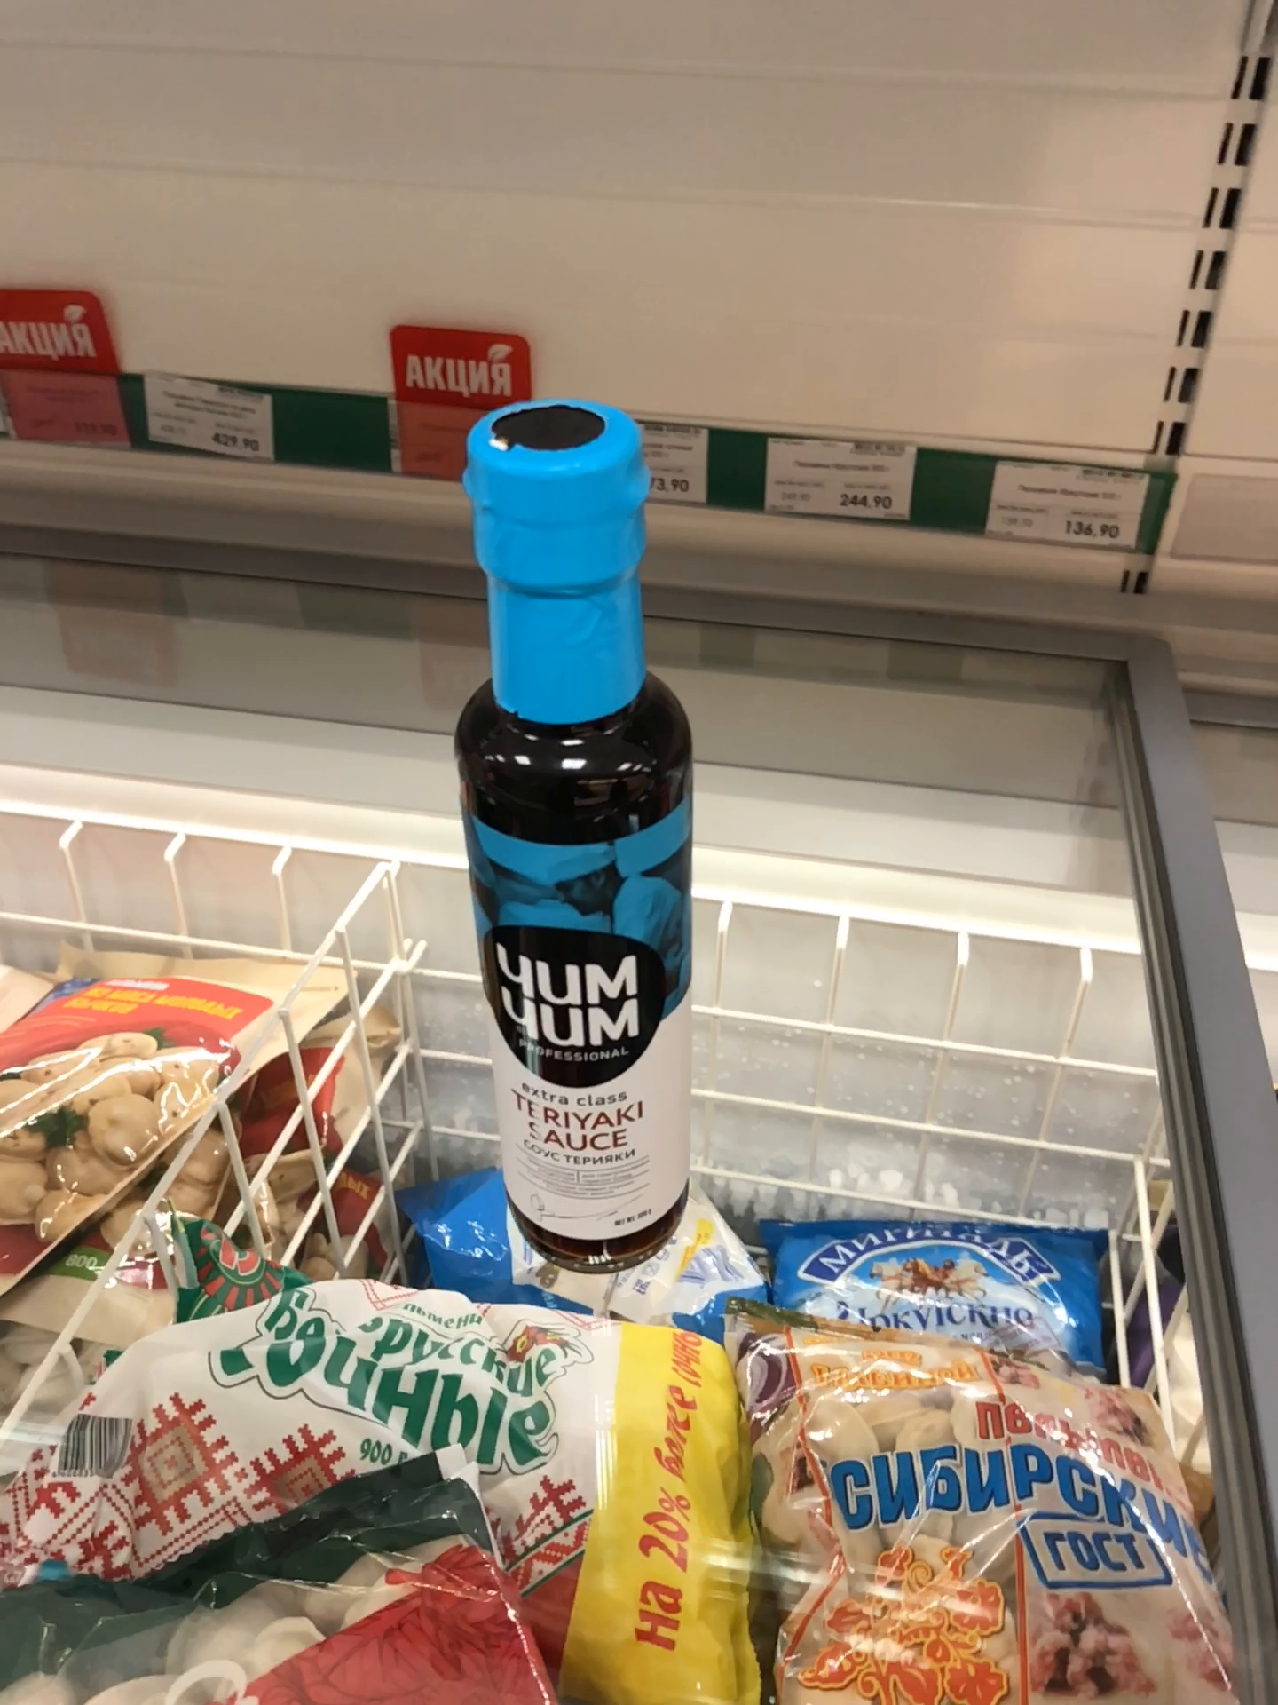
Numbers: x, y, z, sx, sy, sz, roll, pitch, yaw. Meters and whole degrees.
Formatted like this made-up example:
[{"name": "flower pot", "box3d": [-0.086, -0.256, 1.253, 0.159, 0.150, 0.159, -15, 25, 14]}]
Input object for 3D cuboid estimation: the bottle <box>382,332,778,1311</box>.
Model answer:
[{"name": "bottle", "box3d": [-0.009, 0.007, 0.313, 0.060, 0.219, 0.060, 1, 37, 0]}]
